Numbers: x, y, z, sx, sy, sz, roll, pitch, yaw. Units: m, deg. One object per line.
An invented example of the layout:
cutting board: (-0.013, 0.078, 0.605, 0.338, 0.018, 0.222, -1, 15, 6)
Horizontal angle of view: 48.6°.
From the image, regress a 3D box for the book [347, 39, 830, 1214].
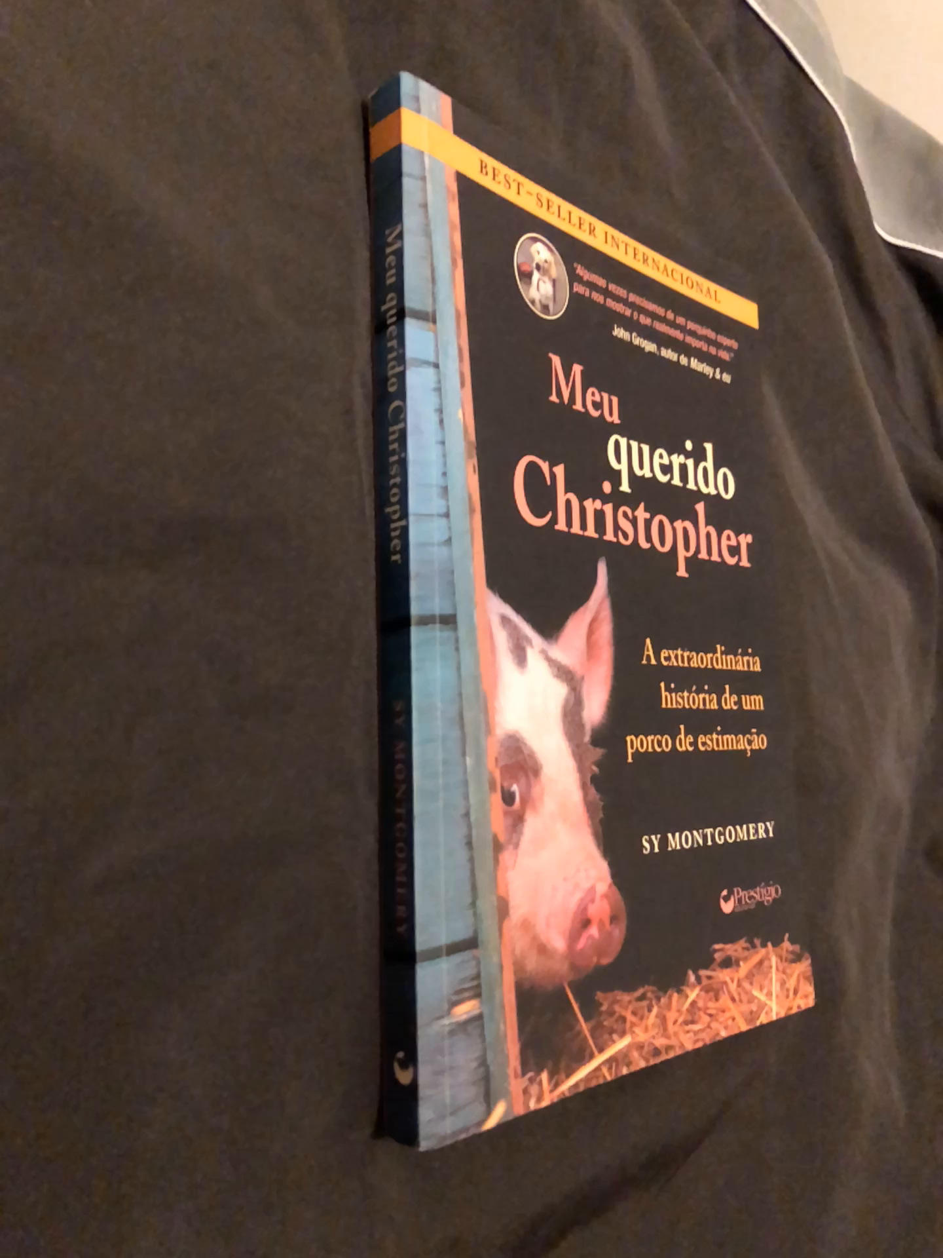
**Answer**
book: (0.041, -0.002, 0.265, 0.171, 0.020, 0.220, 4, 82, -48)
